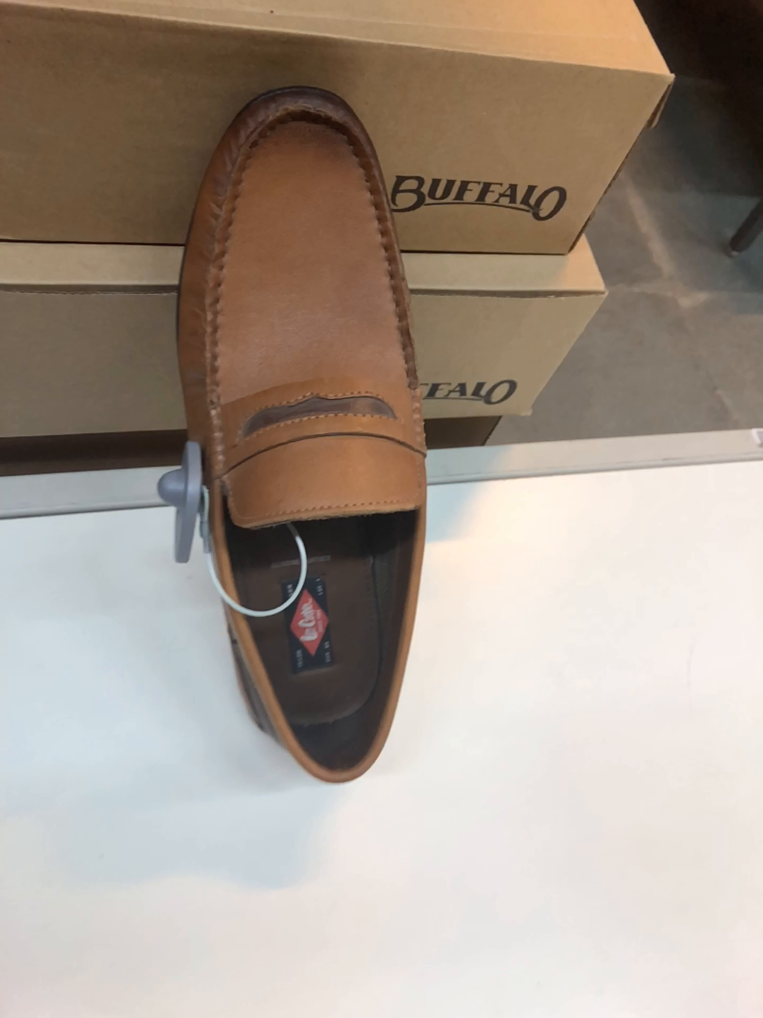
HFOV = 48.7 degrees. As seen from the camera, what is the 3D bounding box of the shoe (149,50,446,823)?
[{"bbox_3d":[-0.037,-0.028,0.378,0.103,0.102,0.293,-5,105,-15],"label":"shoe"}]
